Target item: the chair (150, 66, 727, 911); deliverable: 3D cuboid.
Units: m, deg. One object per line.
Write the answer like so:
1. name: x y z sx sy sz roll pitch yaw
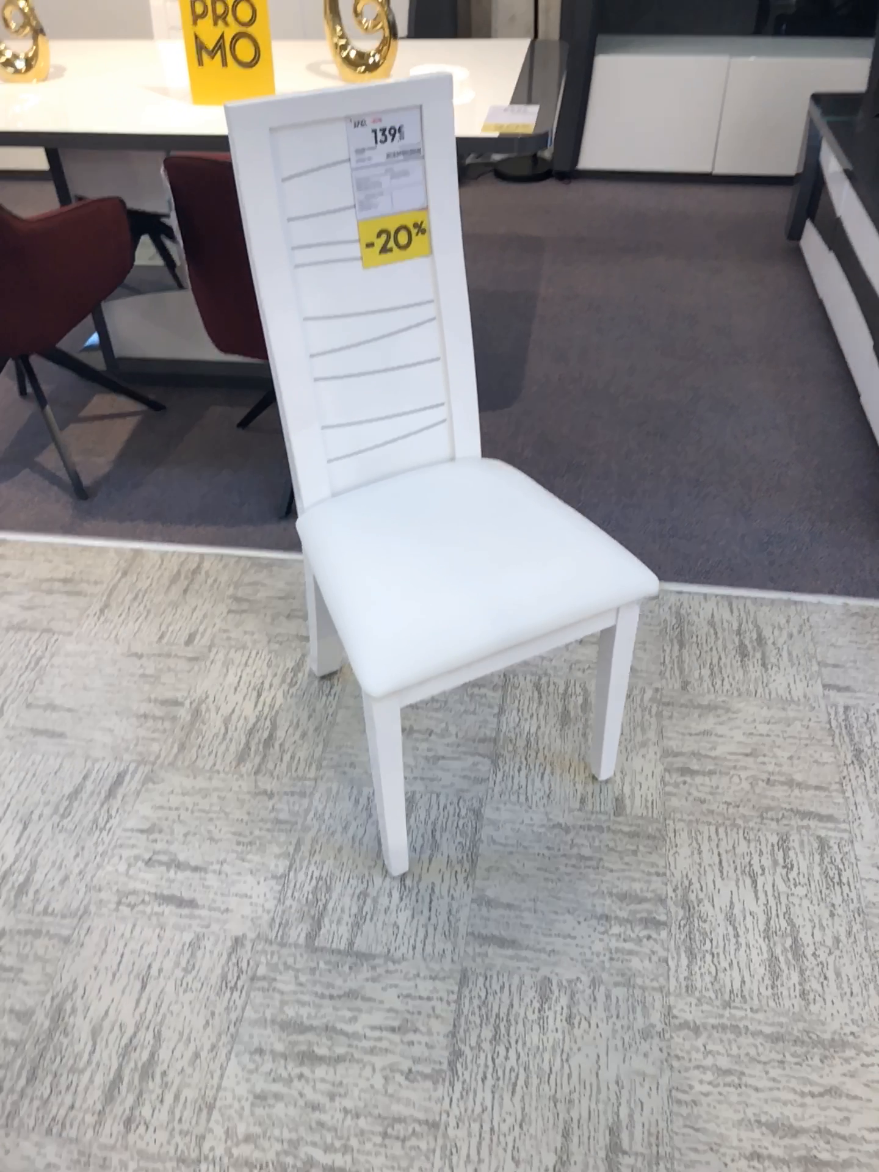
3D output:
1. chair: -0.022 -0.115 1.393 0.451 1.004 0.542 -19 43 -19
